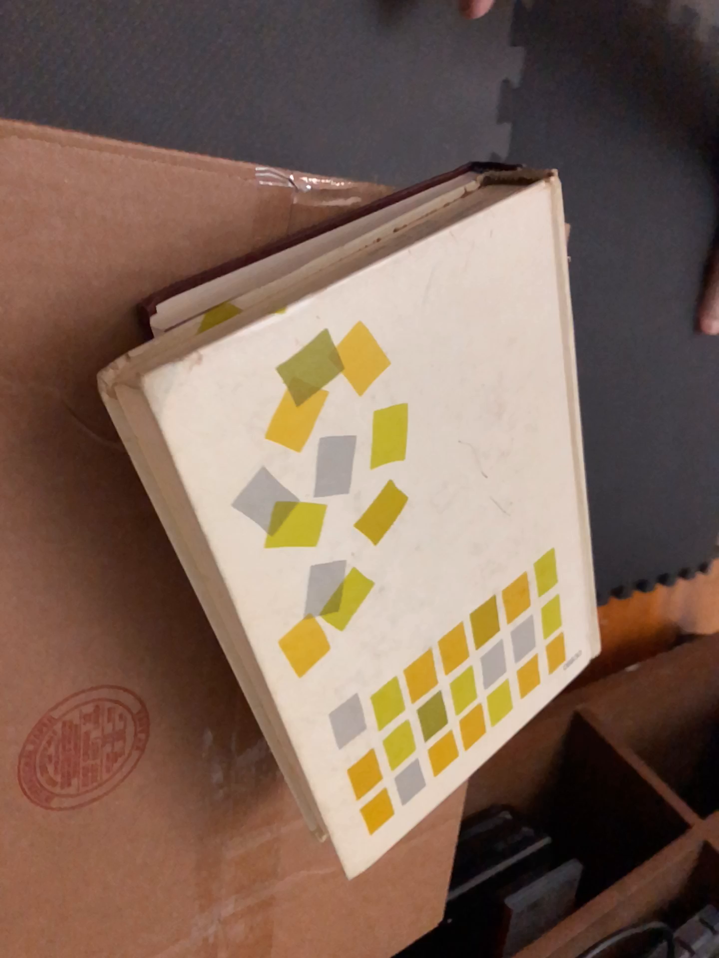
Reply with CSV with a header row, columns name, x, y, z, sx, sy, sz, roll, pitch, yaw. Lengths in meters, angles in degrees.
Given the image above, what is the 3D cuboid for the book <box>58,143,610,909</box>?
name,x,y,z,sx,sy,sz,roll,pitch,yaw
book,0.023,0.026,0.317,0.181,0.040,0.250,-35,129,-27

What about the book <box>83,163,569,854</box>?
name,x,y,z,sx,sy,sz,roll,pitch,yaw
book,0.015,0.017,0.350,0.181,0.040,0.250,-32,127,-28
